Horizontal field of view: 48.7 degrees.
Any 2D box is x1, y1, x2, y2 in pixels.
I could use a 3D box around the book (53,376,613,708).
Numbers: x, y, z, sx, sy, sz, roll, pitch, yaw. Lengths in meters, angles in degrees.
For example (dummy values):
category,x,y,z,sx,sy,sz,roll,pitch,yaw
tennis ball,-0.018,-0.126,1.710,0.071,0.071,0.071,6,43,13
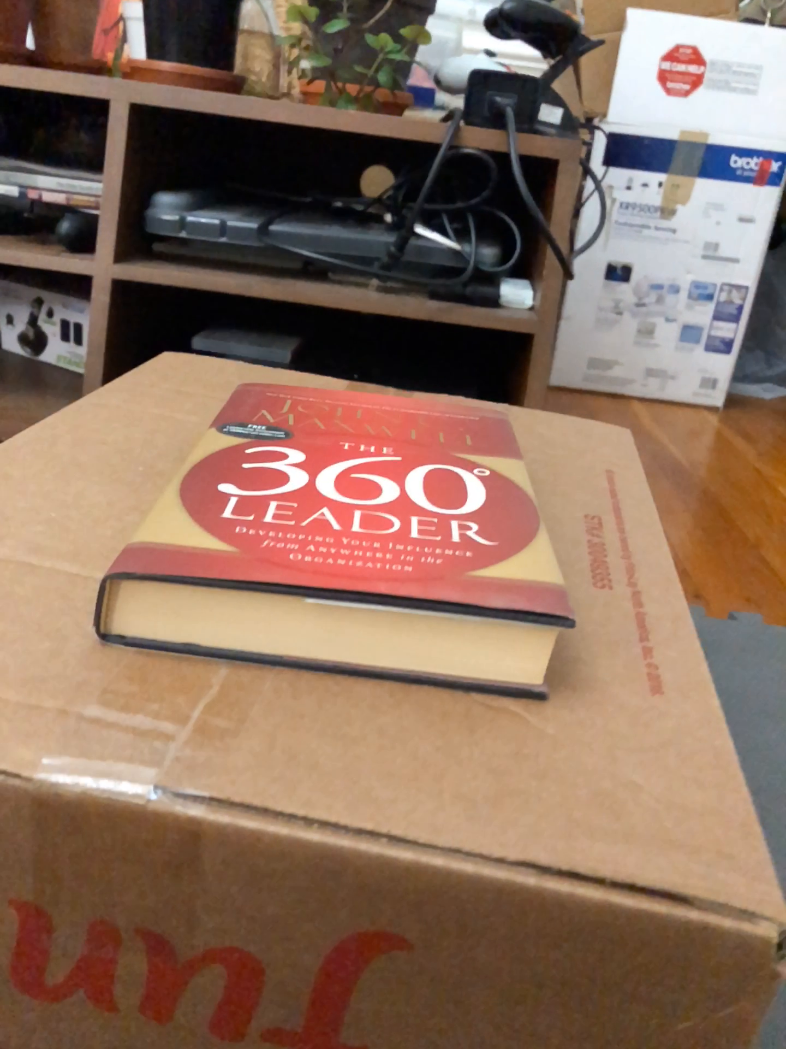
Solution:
category,x,y,z,sx,sy,sz,roll,pitch,yaw
book,-0.015,-0.012,0.394,0.180,0.030,0.241,7,24,0
